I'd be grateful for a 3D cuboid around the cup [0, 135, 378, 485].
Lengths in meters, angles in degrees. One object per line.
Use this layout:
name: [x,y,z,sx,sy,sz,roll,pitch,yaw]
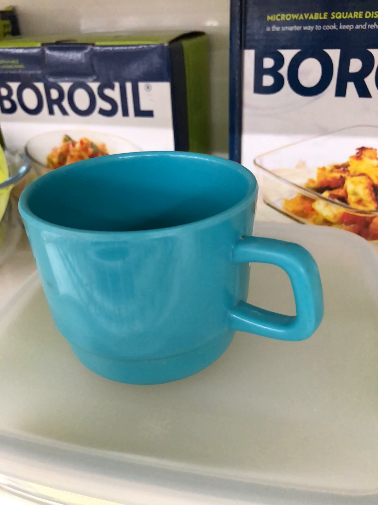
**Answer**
cup: [0.002,0.005,0.164,0.120,0.070,0.091,11,31,22]
